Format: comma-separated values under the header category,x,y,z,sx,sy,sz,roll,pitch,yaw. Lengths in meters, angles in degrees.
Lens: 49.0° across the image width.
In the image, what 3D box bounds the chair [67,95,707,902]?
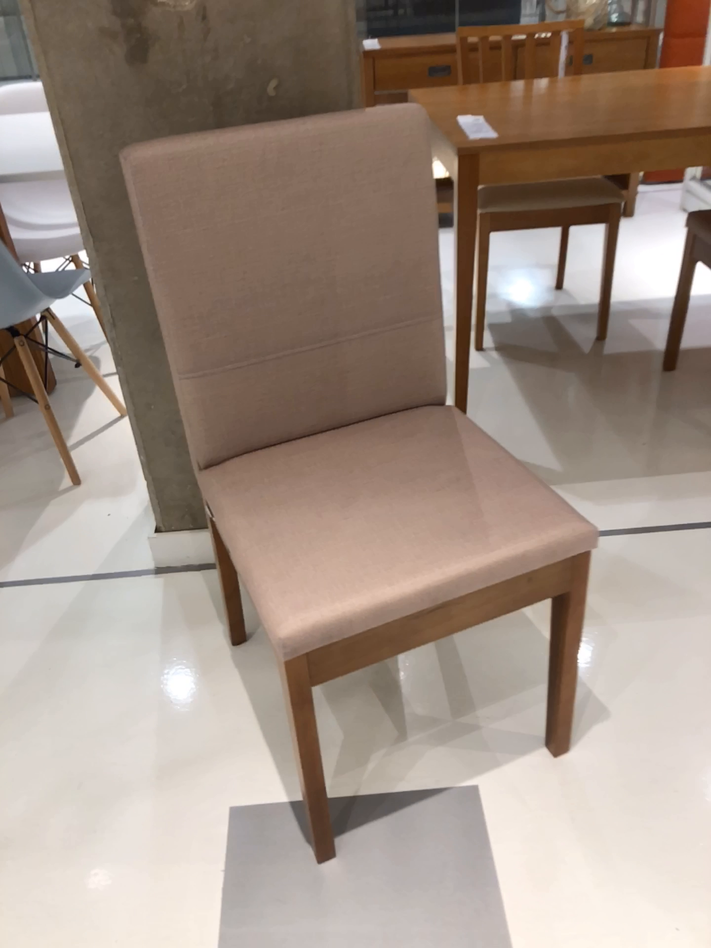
category,x,y,z,sx,sy,sz,roll,pitch,yaw
chair,0.013,0.019,1.155,0.561,0.933,0.543,-16,36,-17
